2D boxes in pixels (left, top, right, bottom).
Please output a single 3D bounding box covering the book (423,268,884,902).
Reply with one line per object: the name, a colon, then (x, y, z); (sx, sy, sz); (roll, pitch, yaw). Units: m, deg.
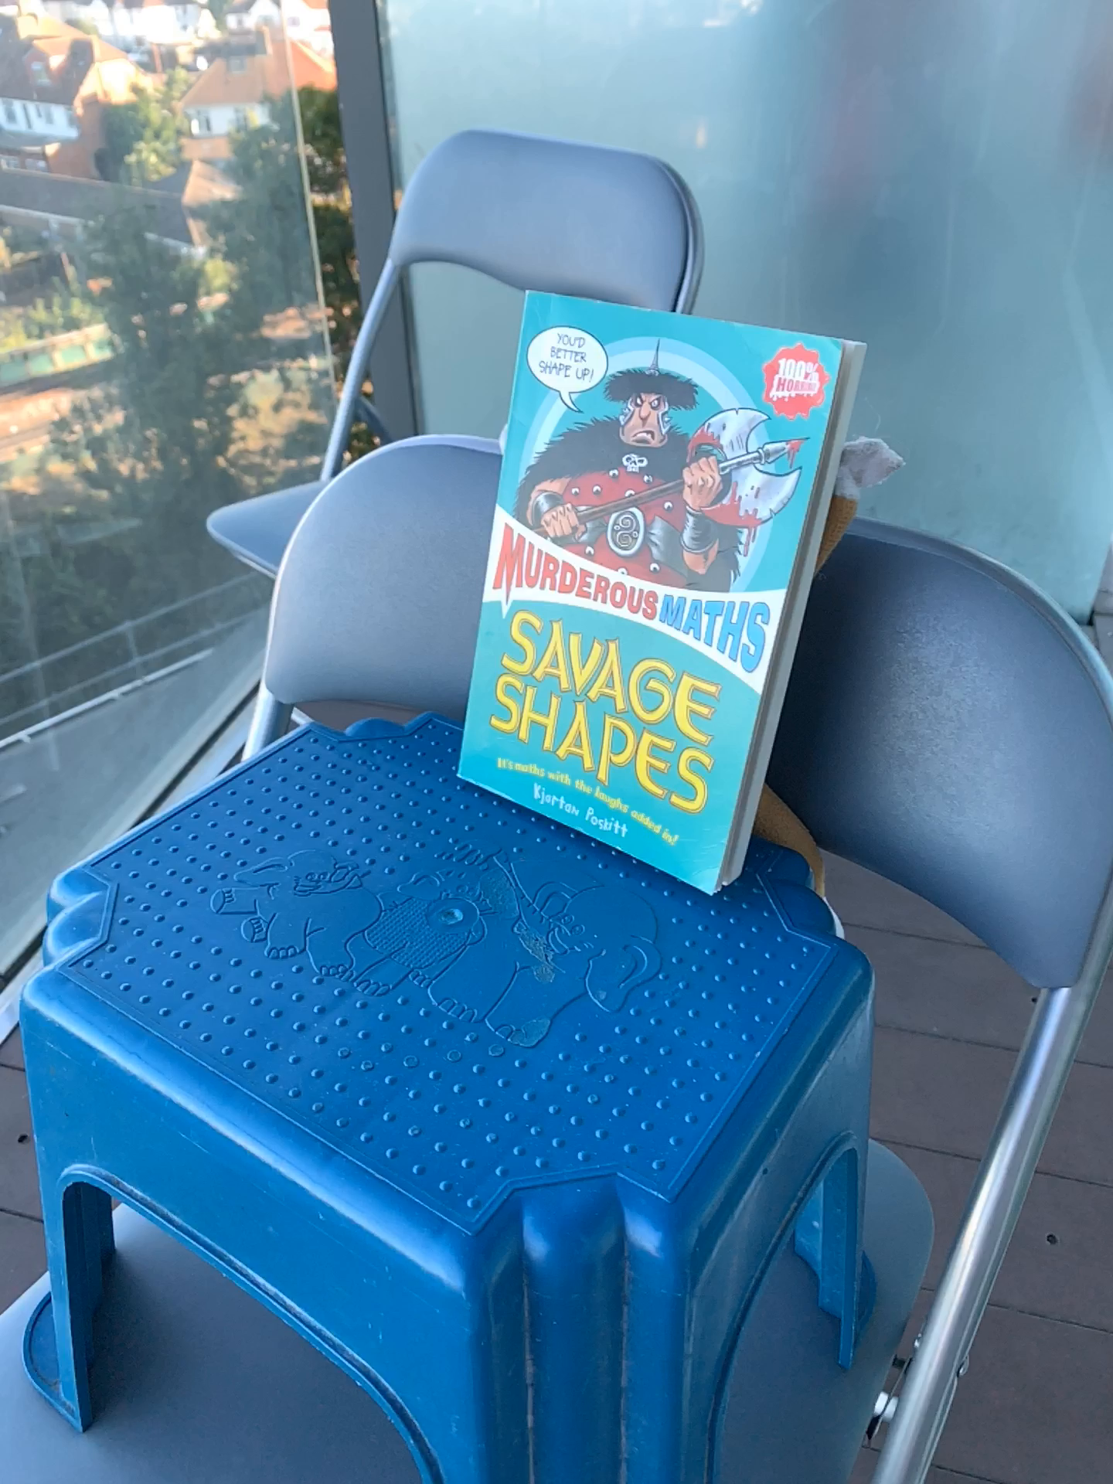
book: (0.025, -0.058, 0.416); (0.134, 0.193, 0.029); (22, 22, 29)
